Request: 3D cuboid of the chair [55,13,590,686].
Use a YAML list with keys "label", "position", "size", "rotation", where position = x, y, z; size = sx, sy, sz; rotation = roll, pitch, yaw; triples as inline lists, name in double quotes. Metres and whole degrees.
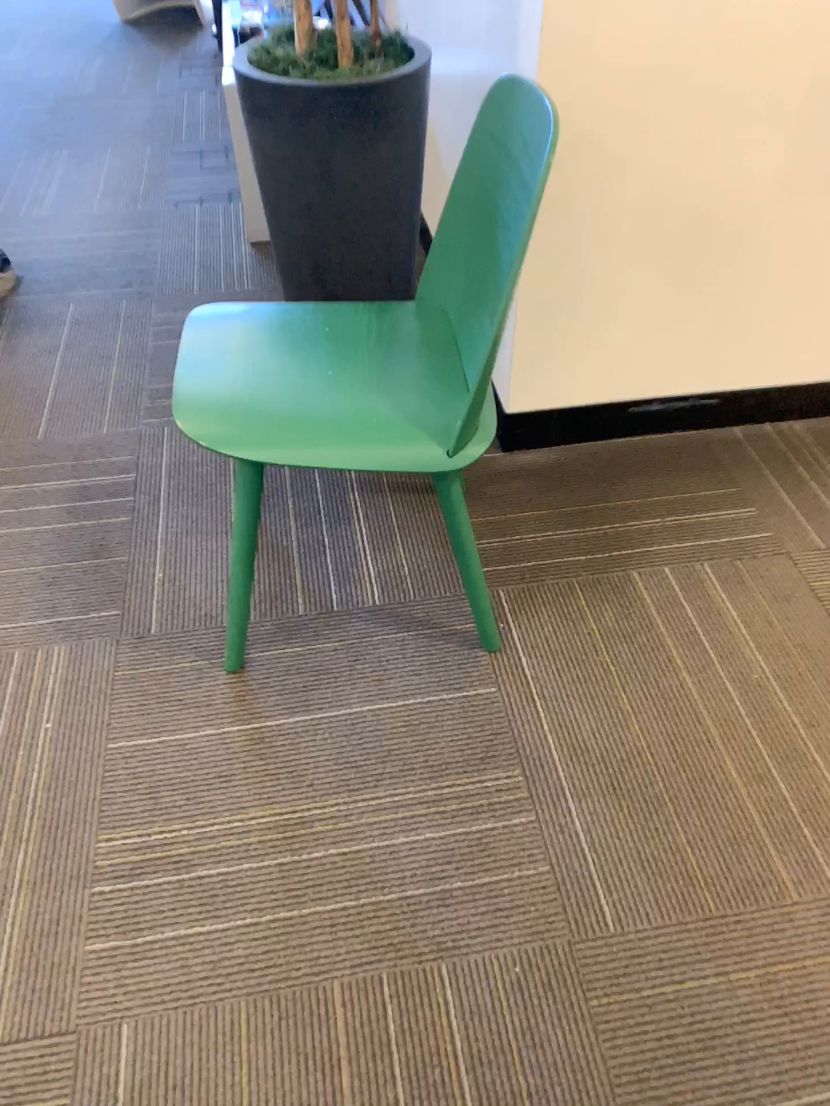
- label: "chair"
  position: [-0.115, -0.273, 1.242]
  size: [0.500, 0.785, 0.503]
  rotation: [-5, 44, -6]
